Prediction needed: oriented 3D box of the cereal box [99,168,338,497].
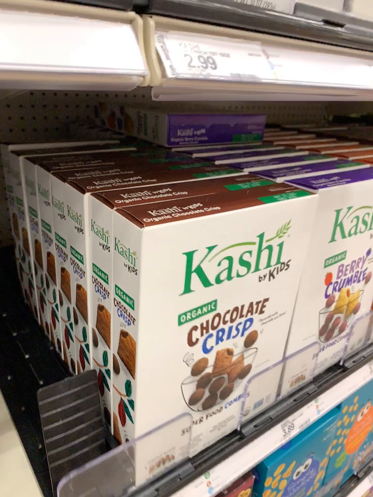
[{"bbox_3d":[0.028,0.069,0.362,0.200,0.259,0.060,-14,30,-34],"label":"cereal box"}]
